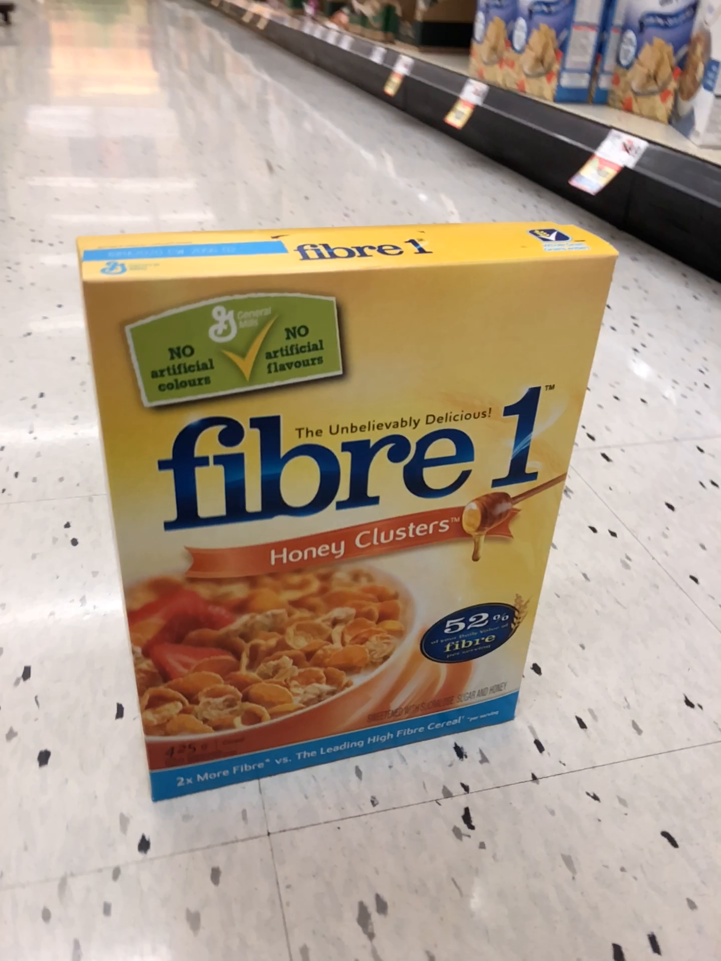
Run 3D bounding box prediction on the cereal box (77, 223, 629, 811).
[{"bbox_3d":[-0.007,0.023,0.348,0.190,0.248,0.050,-7,34,-17],"label":"cereal box"}]
